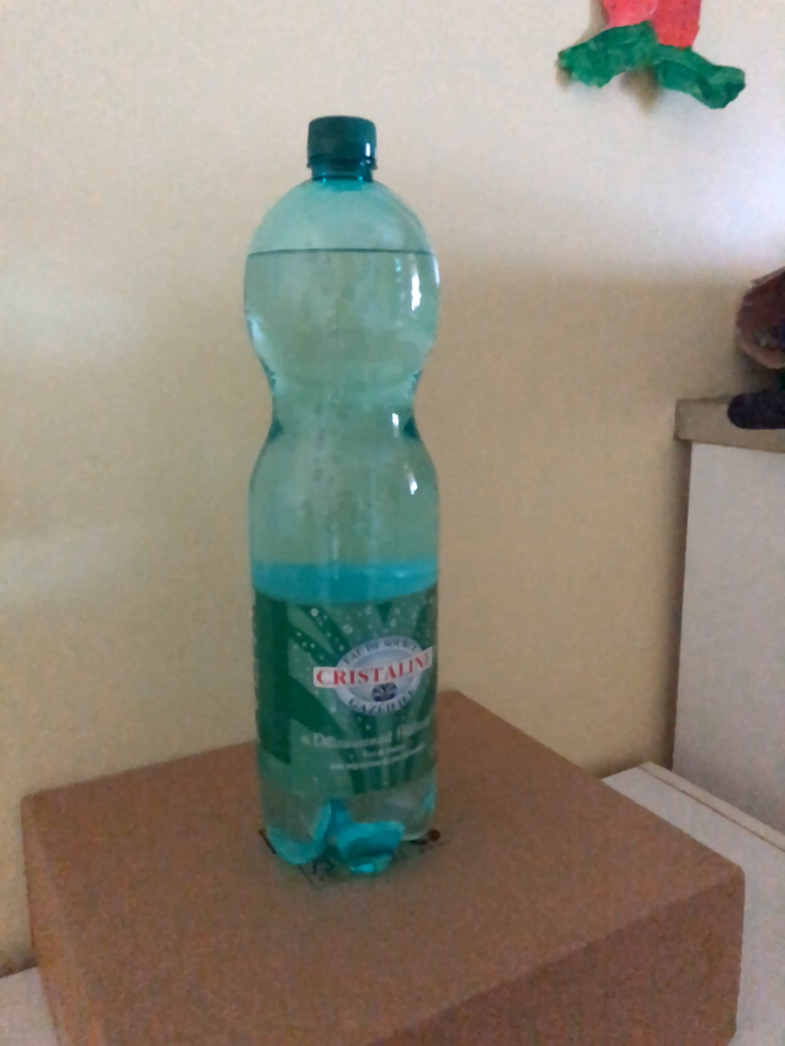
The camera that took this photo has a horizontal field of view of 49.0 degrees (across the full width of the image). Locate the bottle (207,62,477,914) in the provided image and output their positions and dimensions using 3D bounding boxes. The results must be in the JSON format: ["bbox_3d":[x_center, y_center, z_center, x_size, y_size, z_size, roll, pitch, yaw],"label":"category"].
[{"bbox_3d":[-0.023,-0.009,0.392,0.090,0.339,0.080,-5,12,-23],"label":"bottle"}]
